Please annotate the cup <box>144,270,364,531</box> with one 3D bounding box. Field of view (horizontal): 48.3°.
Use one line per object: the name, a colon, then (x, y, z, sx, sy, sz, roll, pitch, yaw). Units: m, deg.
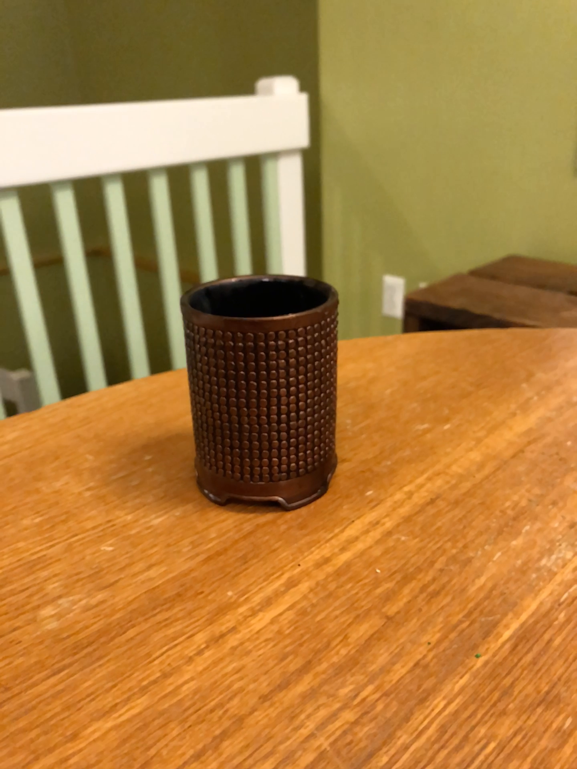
cup: (-0.012, 0.003, 0.321, 0.077, 0.097, 0.073, -2, 24, 1)
